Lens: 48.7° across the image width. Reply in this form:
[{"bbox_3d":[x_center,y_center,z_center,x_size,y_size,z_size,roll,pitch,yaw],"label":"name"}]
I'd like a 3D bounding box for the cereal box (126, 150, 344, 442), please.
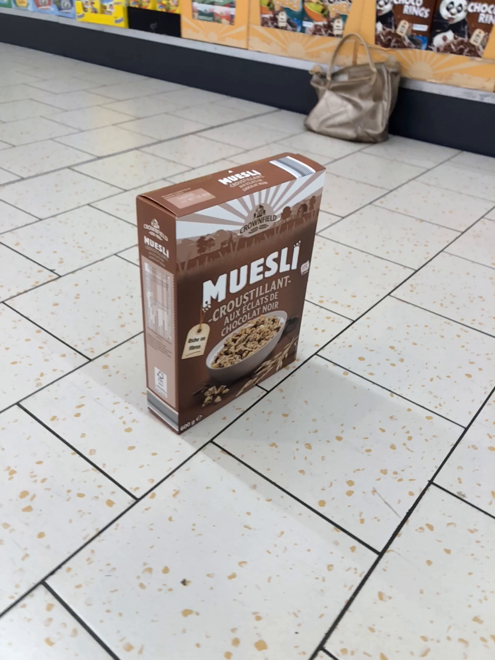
[{"bbox_3d":[-0.008,-0.038,0.559,0.201,0.238,0.070,-26,43,-35],"label":"cereal box"}]
